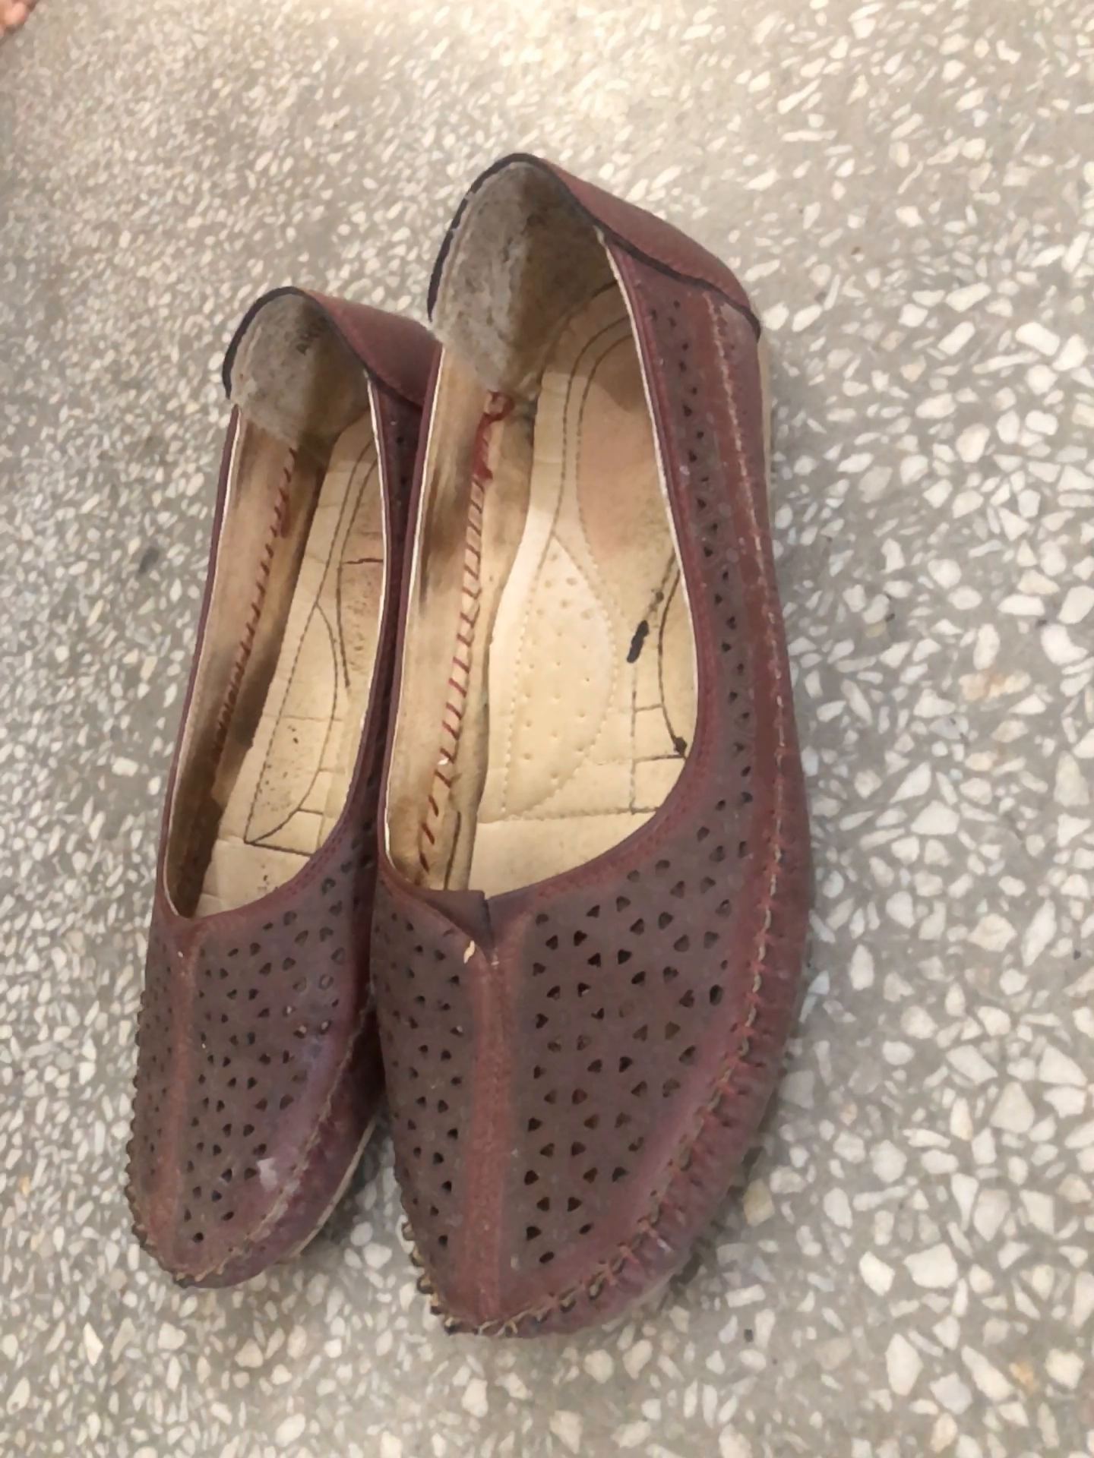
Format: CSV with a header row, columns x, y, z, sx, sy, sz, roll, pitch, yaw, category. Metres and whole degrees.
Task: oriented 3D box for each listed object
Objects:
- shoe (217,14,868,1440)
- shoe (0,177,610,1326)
x,y,z,sx,sy,sz,roll,pitch,yaw,category
0.008,-0.009,0.252,0.090,0.060,0.250,-6,69,36,shoe
-0.056,0.000,0.304,0.090,0.060,0.250,-2,71,37,shoe
